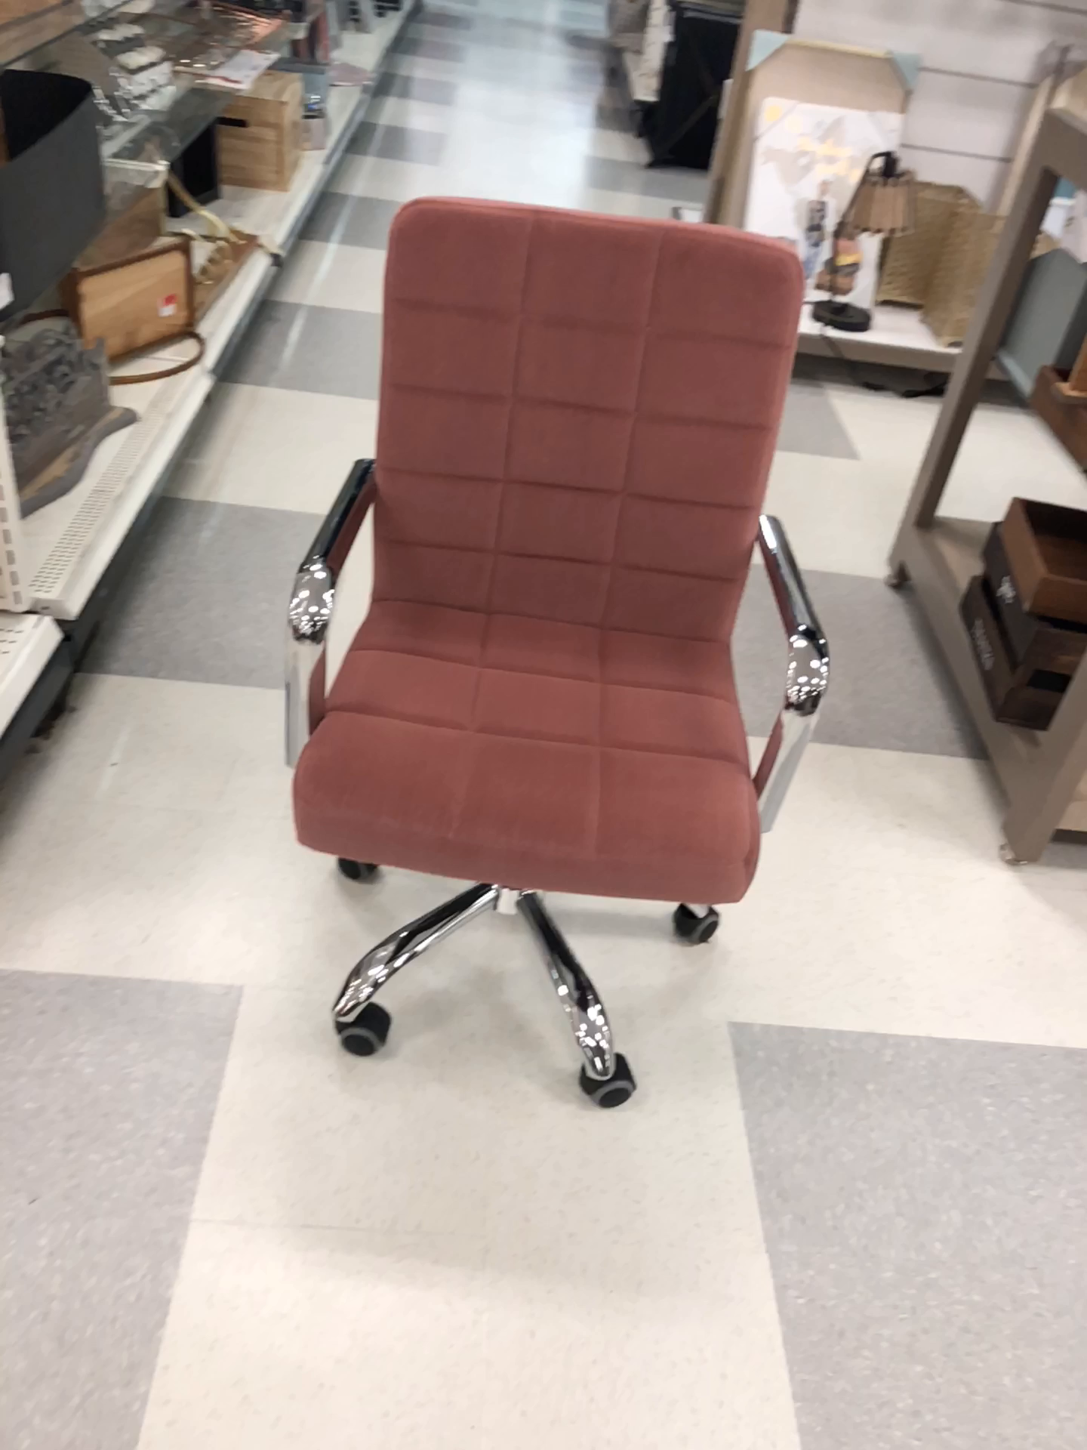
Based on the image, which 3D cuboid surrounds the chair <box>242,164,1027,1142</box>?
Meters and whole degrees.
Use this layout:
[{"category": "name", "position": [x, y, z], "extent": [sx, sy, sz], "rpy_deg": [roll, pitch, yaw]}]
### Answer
[{"category": "chair", "position": [0.023, -0.065, 1.323], "extent": [0.564, 0.842, 0.572], "rpy_deg": [7, 37, -3]}]
